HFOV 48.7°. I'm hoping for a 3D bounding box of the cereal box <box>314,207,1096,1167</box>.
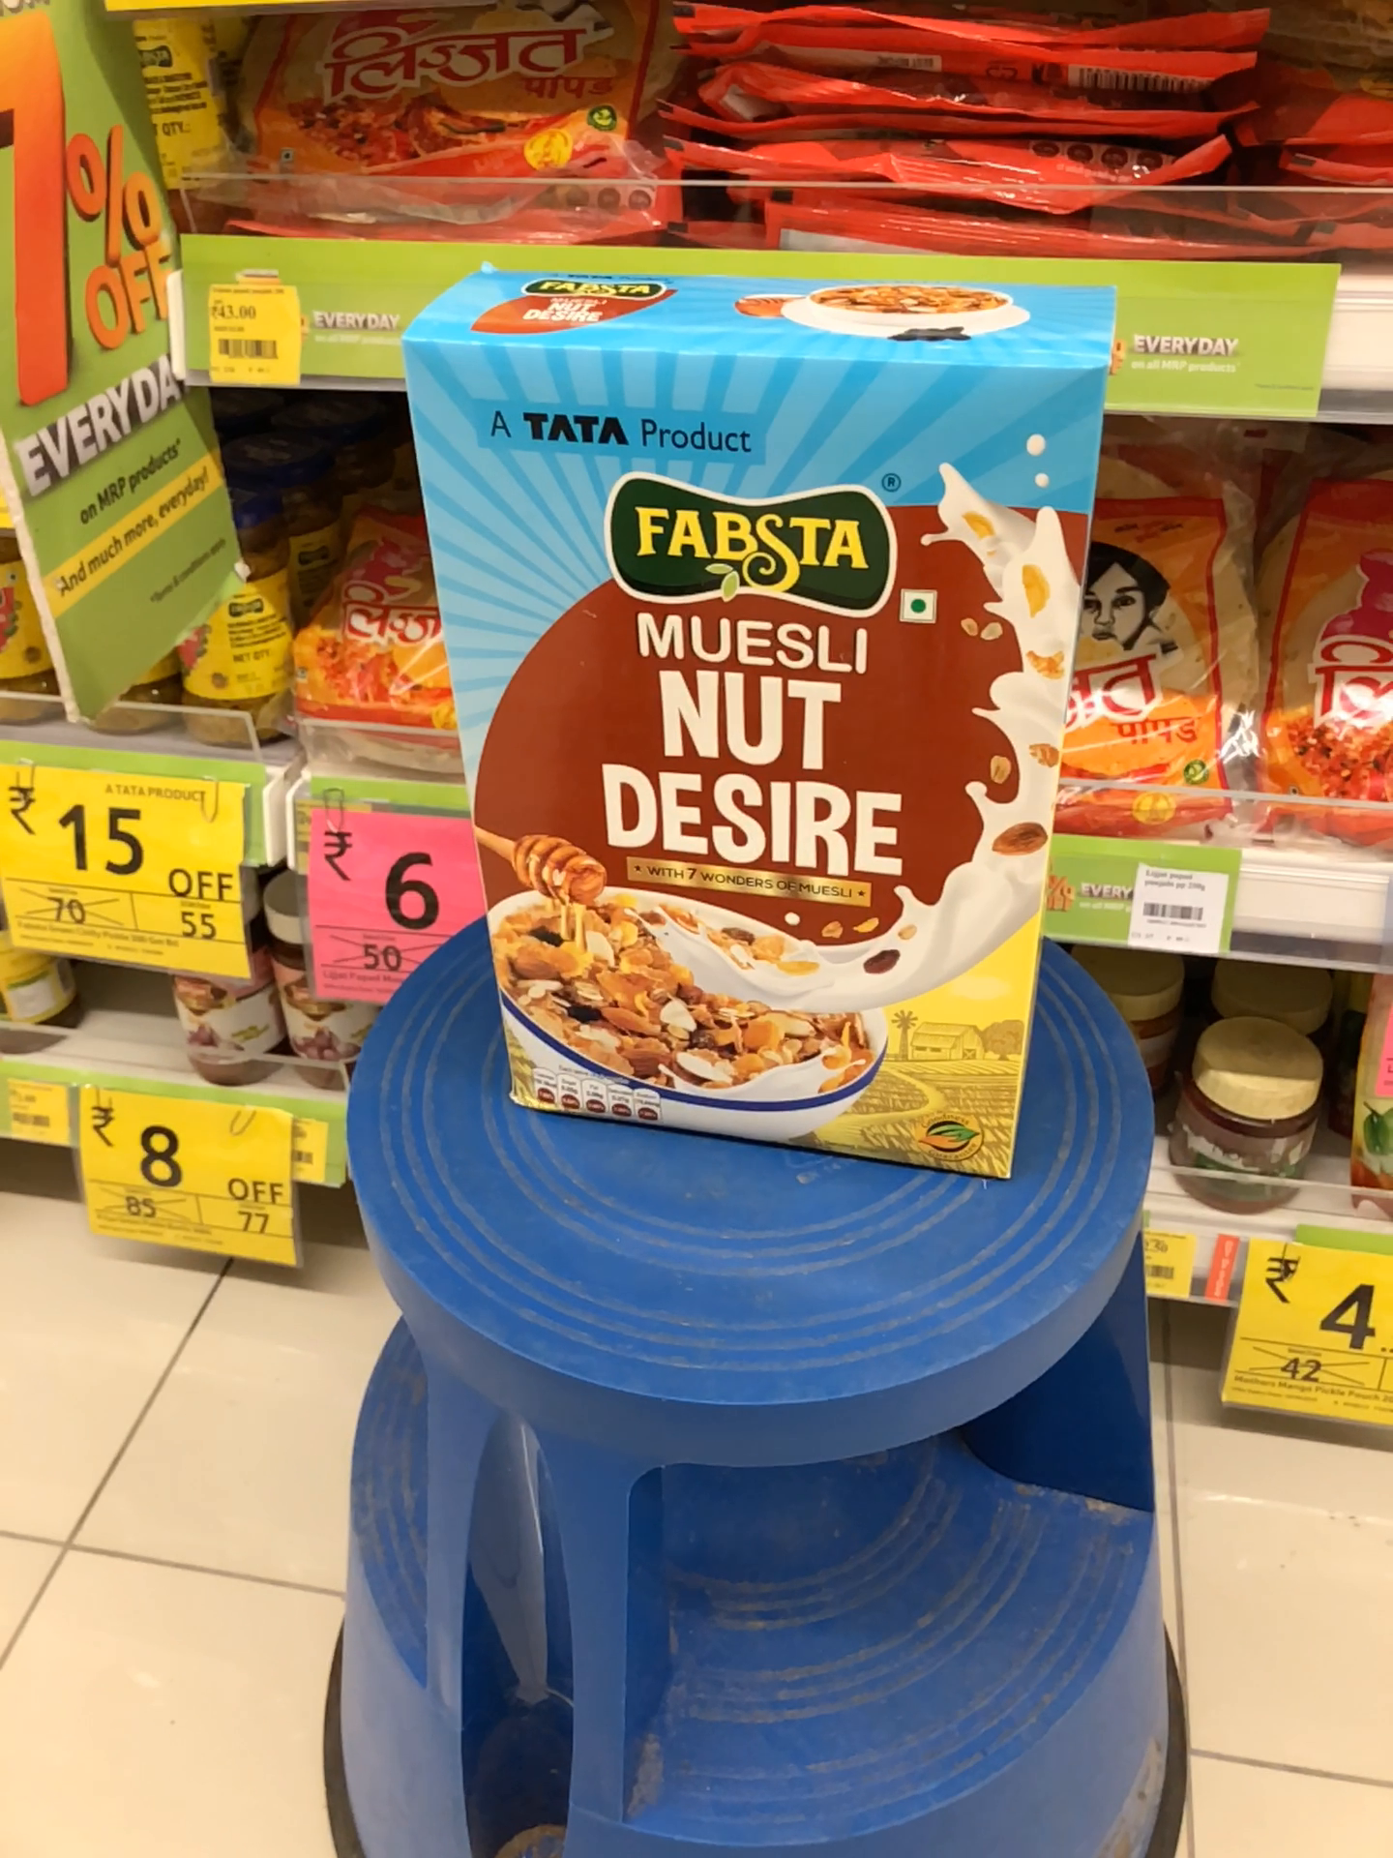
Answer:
[{"bbox_3d":[0.009,-0.058,0.430,0.170,0.248,0.071,6,37,11],"label":"cereal box"}]
